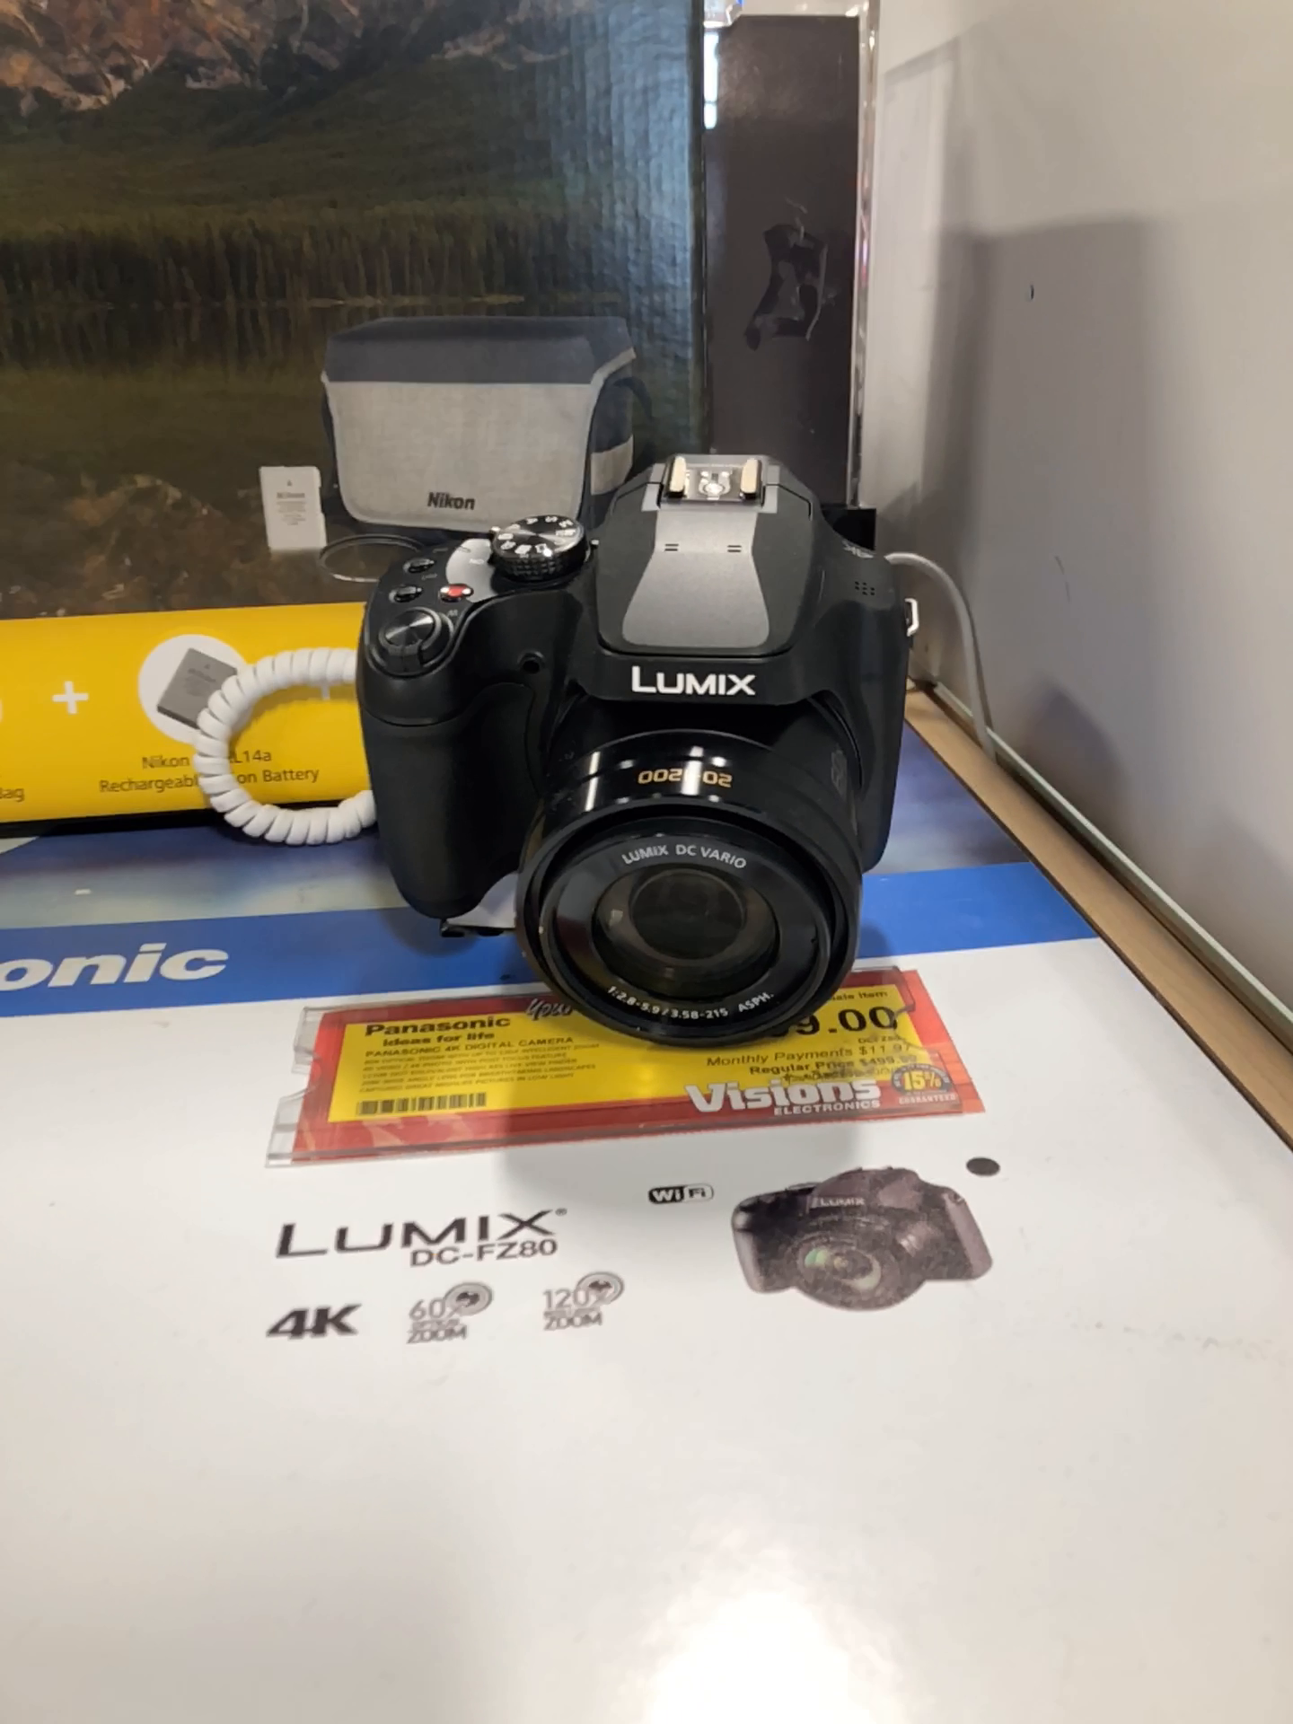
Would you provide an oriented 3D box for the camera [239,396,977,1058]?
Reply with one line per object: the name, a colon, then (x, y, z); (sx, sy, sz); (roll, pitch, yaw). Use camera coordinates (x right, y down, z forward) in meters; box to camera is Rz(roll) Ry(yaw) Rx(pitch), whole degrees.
camera: (-0.002, -0.031, 0.299); (0.120, 0.099, 0.101); (1, 36, 4)
